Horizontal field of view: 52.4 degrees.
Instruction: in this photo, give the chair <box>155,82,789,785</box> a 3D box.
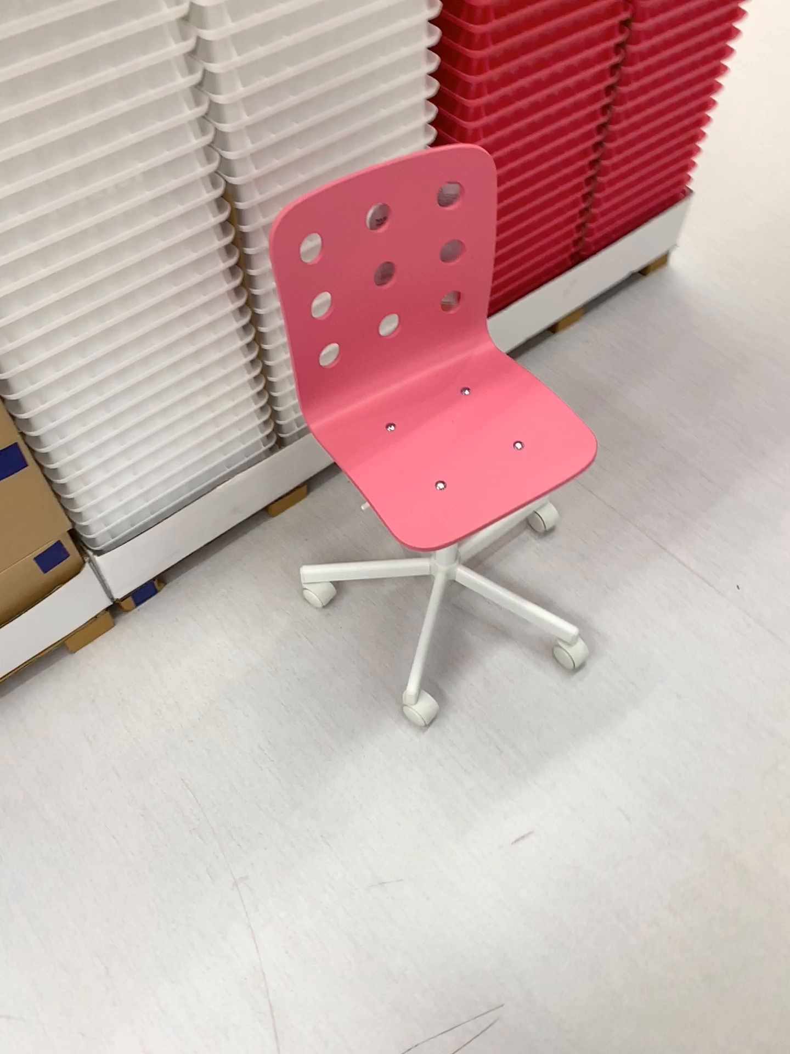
[{"bbox_3d":[0.100,-0.115,1.223,0.550,0.708,0.581,-30,60,-19],"label":"chair"}]
